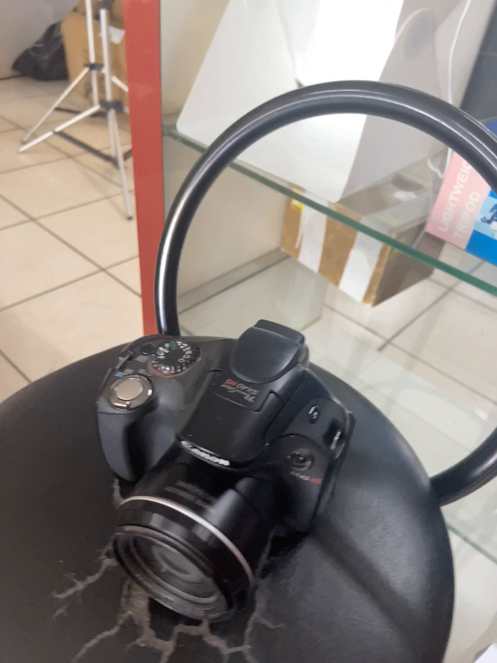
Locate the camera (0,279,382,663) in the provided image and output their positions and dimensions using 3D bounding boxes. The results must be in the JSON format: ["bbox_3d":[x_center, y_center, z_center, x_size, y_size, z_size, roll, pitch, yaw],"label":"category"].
[{"bbox_3d":[-0.020,0.057,0.235,0.120,0.089,0.111,18,40,14],"label":"camera"}]
